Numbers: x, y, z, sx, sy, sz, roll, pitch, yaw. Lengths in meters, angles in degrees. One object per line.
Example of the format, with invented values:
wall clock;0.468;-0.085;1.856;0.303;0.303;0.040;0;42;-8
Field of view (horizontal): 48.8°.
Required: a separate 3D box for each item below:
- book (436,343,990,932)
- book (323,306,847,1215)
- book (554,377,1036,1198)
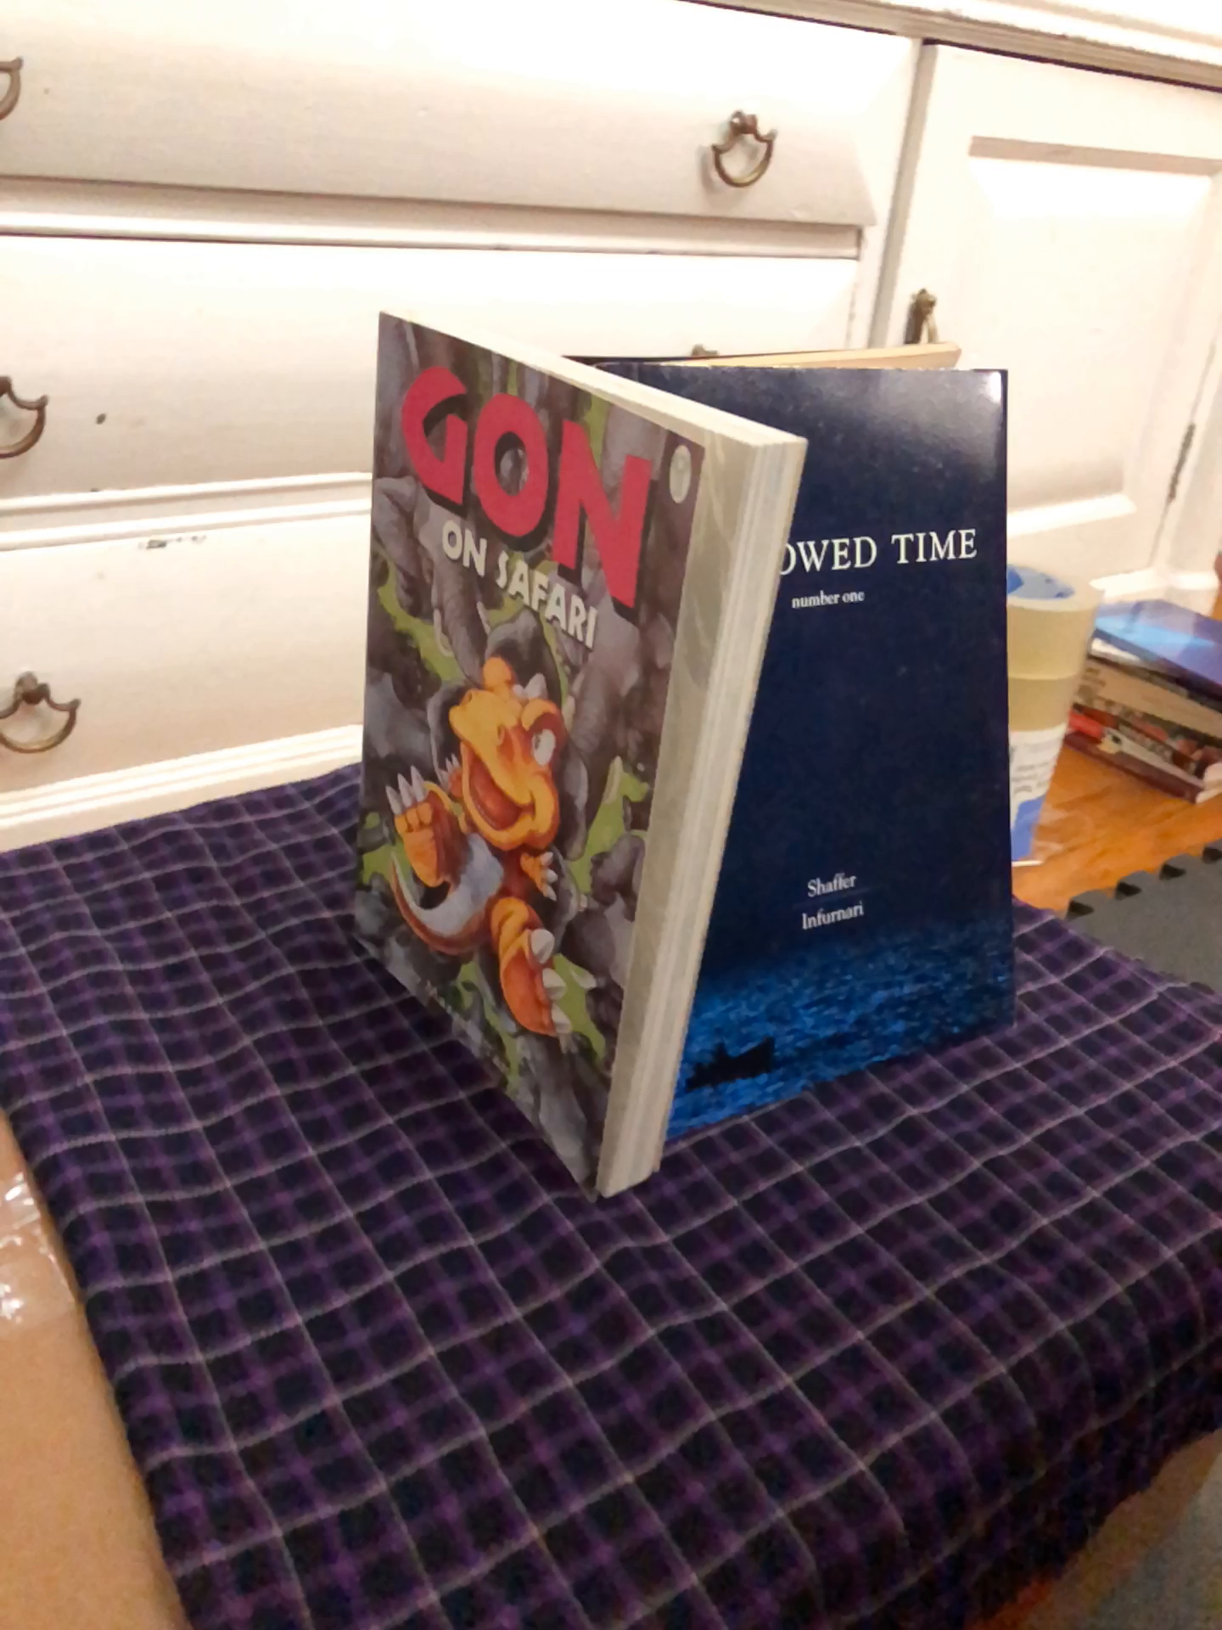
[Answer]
book;0.026;-0.051;0.424;0.140;0.199;0.010;-17;54;-35
book;-0.022;-0.018;0.345;0.020;0.189;0.140;-9;31;-40
book;0.060;-0.015;0.370;0.150;0.200;0.010;-13;12;-33
